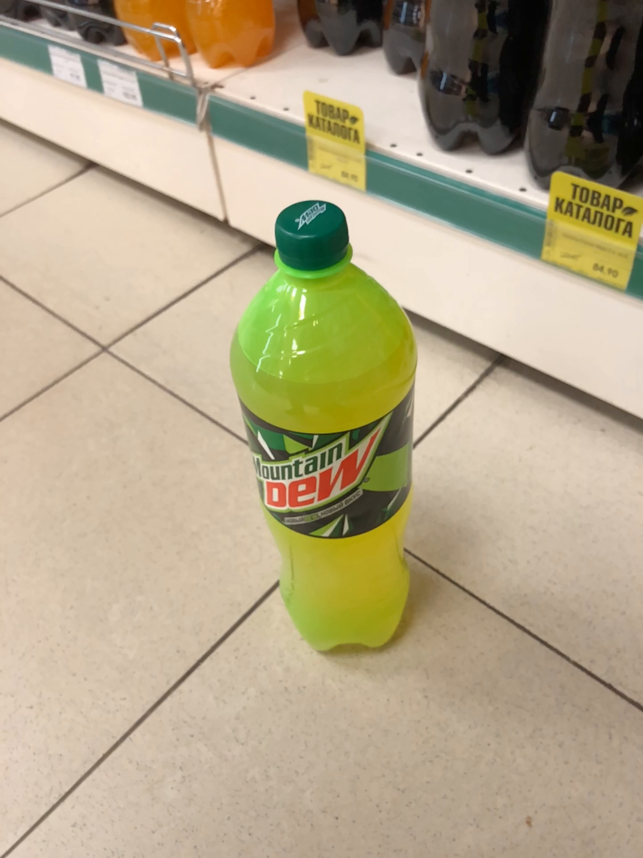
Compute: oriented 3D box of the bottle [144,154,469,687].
[{"bbox_3d":[0.007,0.018,0.402,0.095,0.294,0.100,-3,47,3],"label":"bottle"}]
